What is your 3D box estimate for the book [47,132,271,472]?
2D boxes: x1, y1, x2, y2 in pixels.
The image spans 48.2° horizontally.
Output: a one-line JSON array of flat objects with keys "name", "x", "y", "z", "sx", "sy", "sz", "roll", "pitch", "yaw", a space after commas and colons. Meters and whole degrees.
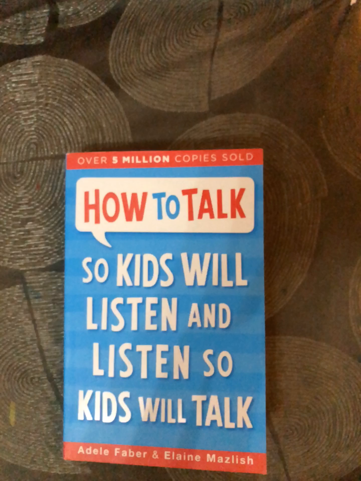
[{"name": "book", "x": -0.013, "y": 0.039, "z": 0.269, "sx": 0.140, "sy": 0.030, "sz": 0.210, "roll": 0, "pitch": 91, "yaw": 5}]
